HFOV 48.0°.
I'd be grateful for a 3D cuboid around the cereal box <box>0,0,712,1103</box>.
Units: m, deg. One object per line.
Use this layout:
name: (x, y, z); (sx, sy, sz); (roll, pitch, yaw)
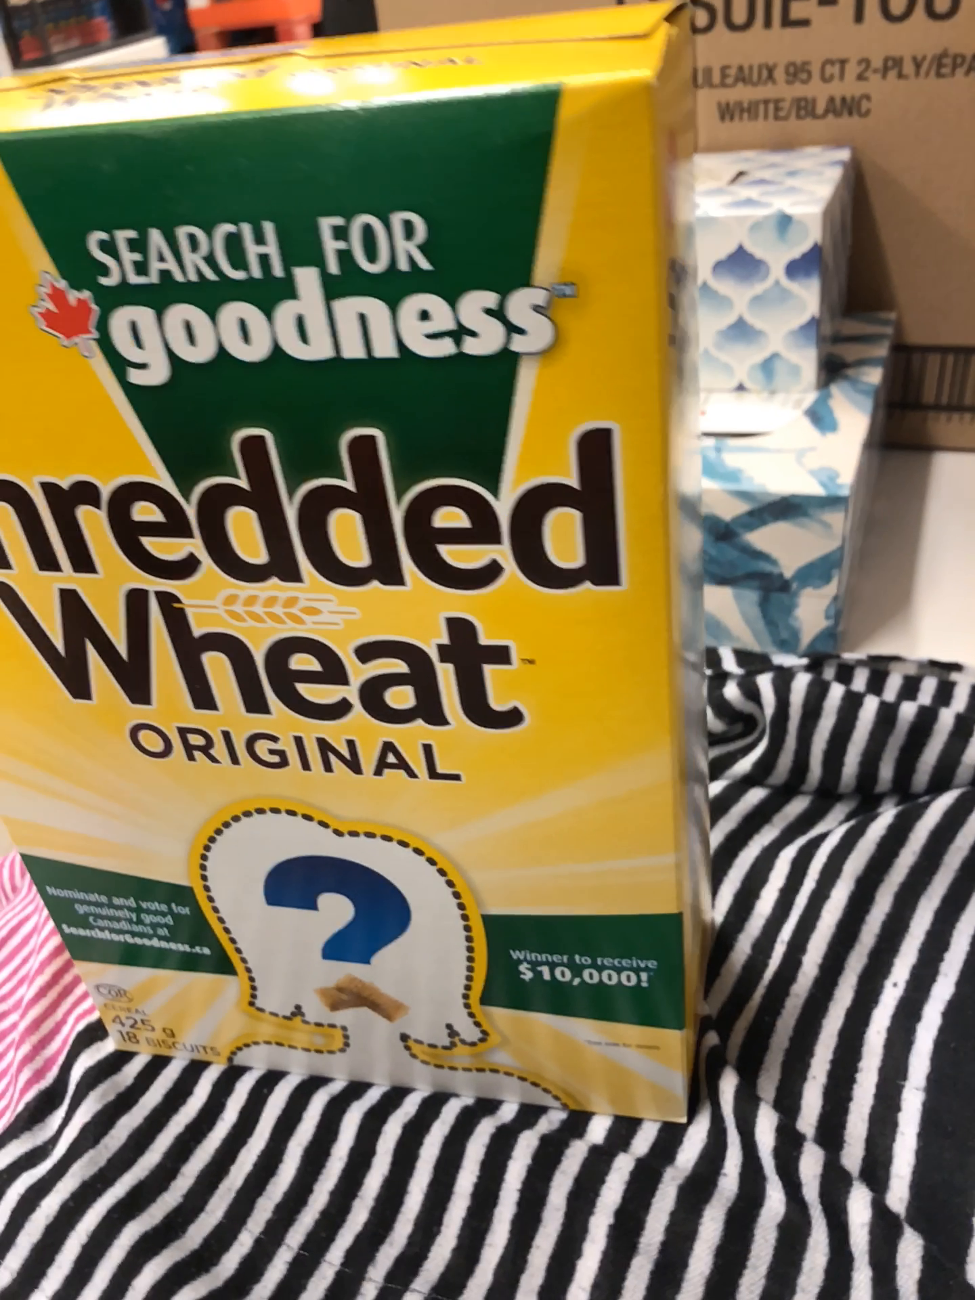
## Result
cereal box: (-0.052, -0.011, 0.282); (0.210, 0.269, 0.080); (1, 36, 14)
